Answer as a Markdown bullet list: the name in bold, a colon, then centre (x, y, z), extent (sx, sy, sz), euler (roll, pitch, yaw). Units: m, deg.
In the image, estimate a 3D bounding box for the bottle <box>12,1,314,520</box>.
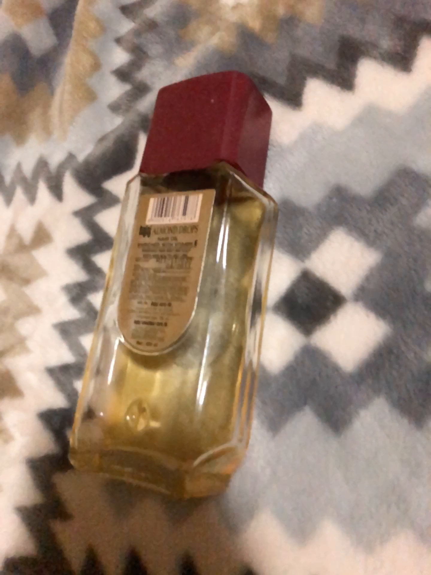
- **bottle**: centre (-0.014, -0.017, 0.198), extent (0.080, 0.040, 0.190), euler (0, 70, 30)
